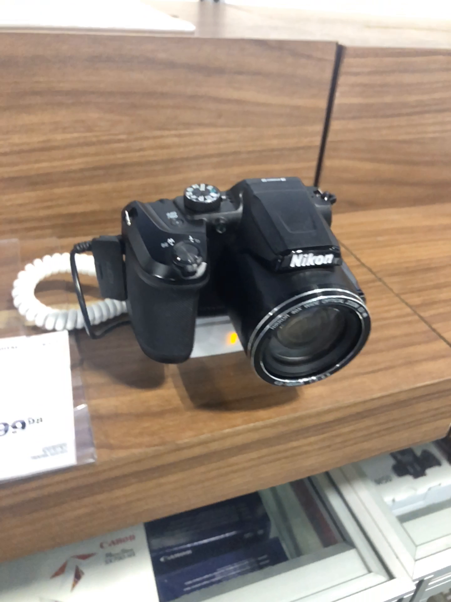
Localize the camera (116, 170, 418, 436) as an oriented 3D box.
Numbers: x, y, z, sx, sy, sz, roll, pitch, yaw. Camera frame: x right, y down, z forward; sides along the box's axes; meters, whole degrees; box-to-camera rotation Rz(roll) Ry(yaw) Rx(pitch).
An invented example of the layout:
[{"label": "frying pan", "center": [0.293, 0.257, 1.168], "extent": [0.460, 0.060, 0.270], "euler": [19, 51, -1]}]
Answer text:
[{"label": "camera", "center": [0.010, -0.008, 0.252], "extent": [0.110, 0.079, 0.096], "euler": [-8, 35, -18]}]
